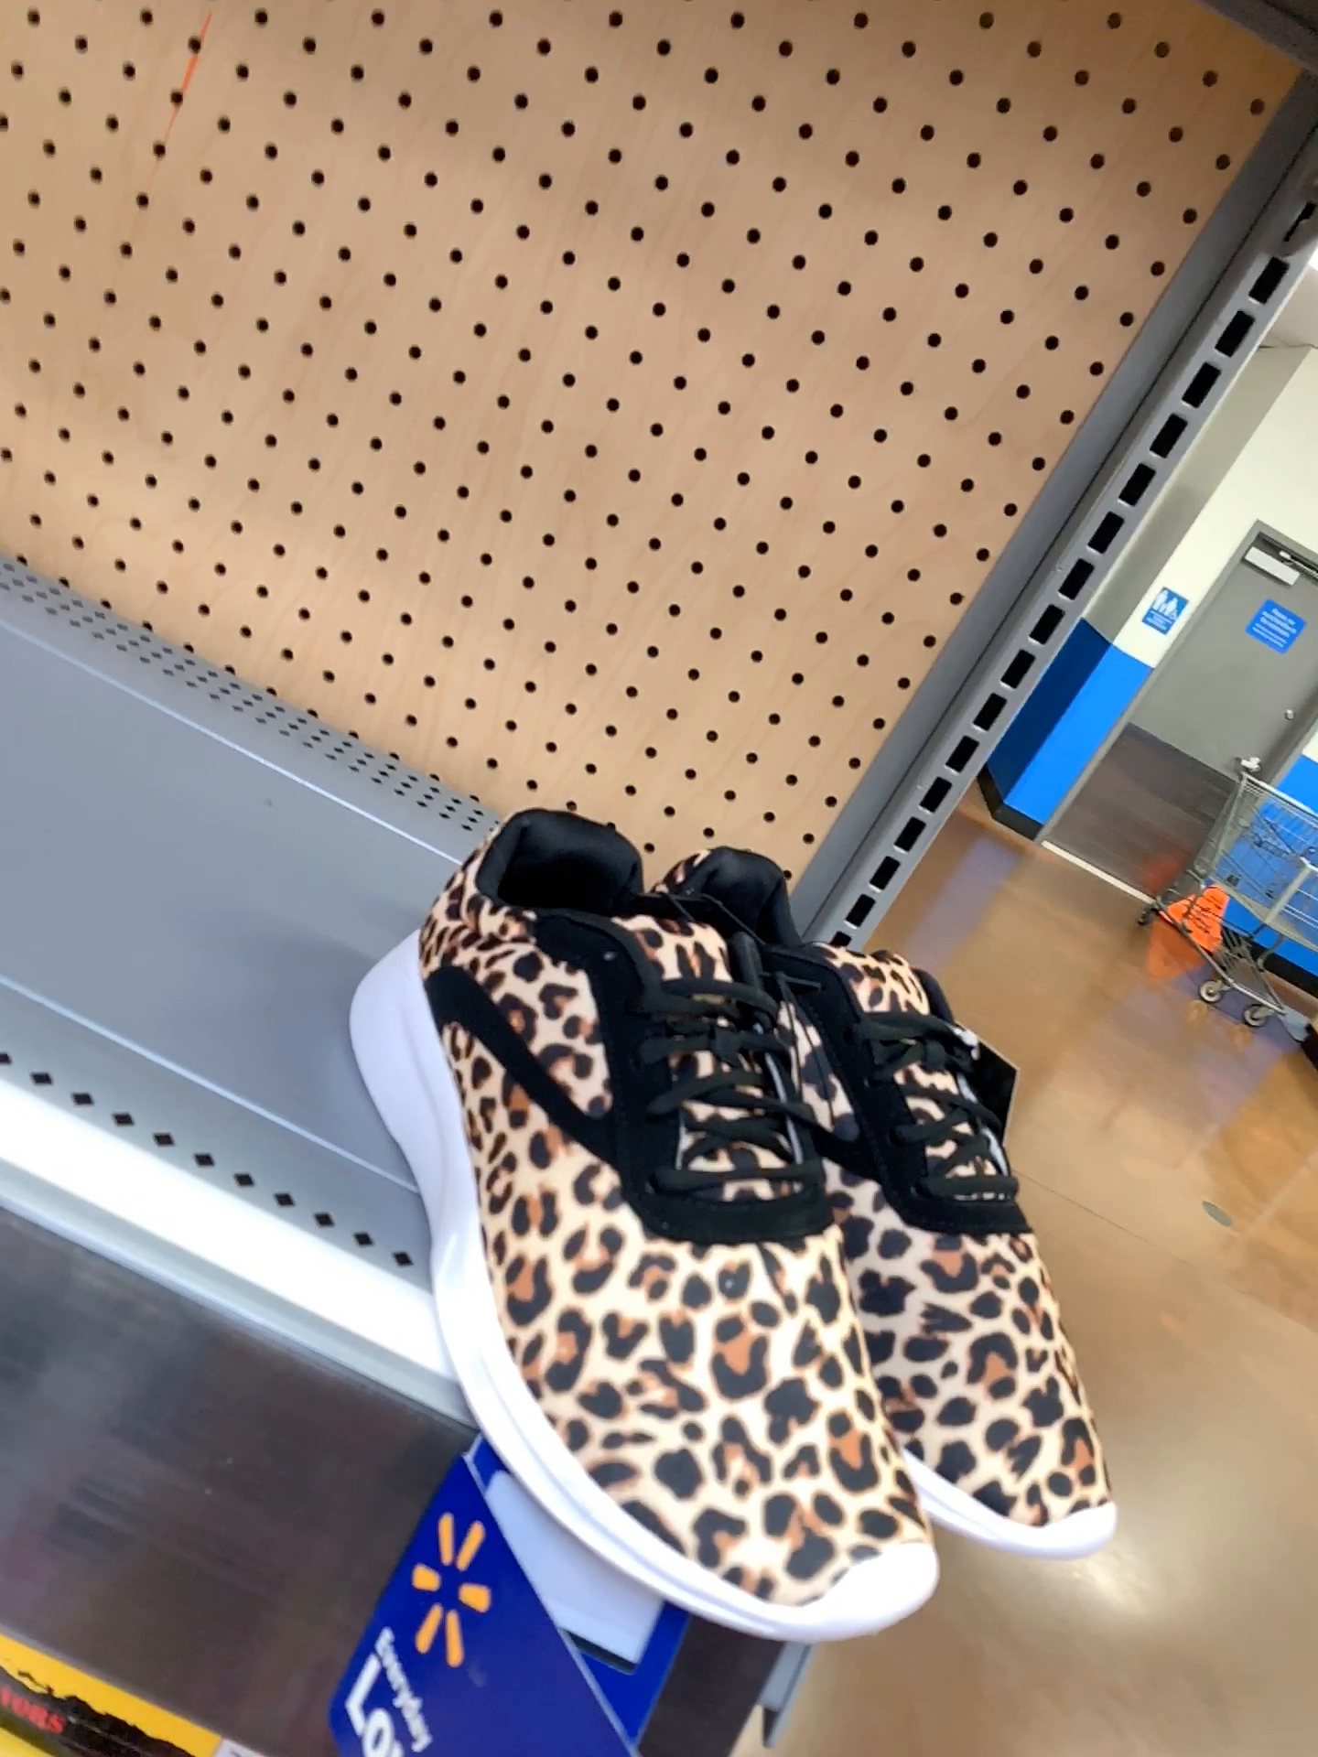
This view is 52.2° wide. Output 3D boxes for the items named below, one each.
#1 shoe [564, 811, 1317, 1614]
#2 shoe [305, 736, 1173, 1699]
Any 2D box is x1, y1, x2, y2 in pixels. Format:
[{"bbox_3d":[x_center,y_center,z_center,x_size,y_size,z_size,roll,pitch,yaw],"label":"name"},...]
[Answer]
[{"bbox_3d":[0.083,0.090,0.445,0.110,0.091,0.241,11,28,-40],"label":"shoe"},{"bbox_3d":[0.001,0.072,0.377,0.119,0.091,0.241,14,27,-37],"label":"shoe"}]
